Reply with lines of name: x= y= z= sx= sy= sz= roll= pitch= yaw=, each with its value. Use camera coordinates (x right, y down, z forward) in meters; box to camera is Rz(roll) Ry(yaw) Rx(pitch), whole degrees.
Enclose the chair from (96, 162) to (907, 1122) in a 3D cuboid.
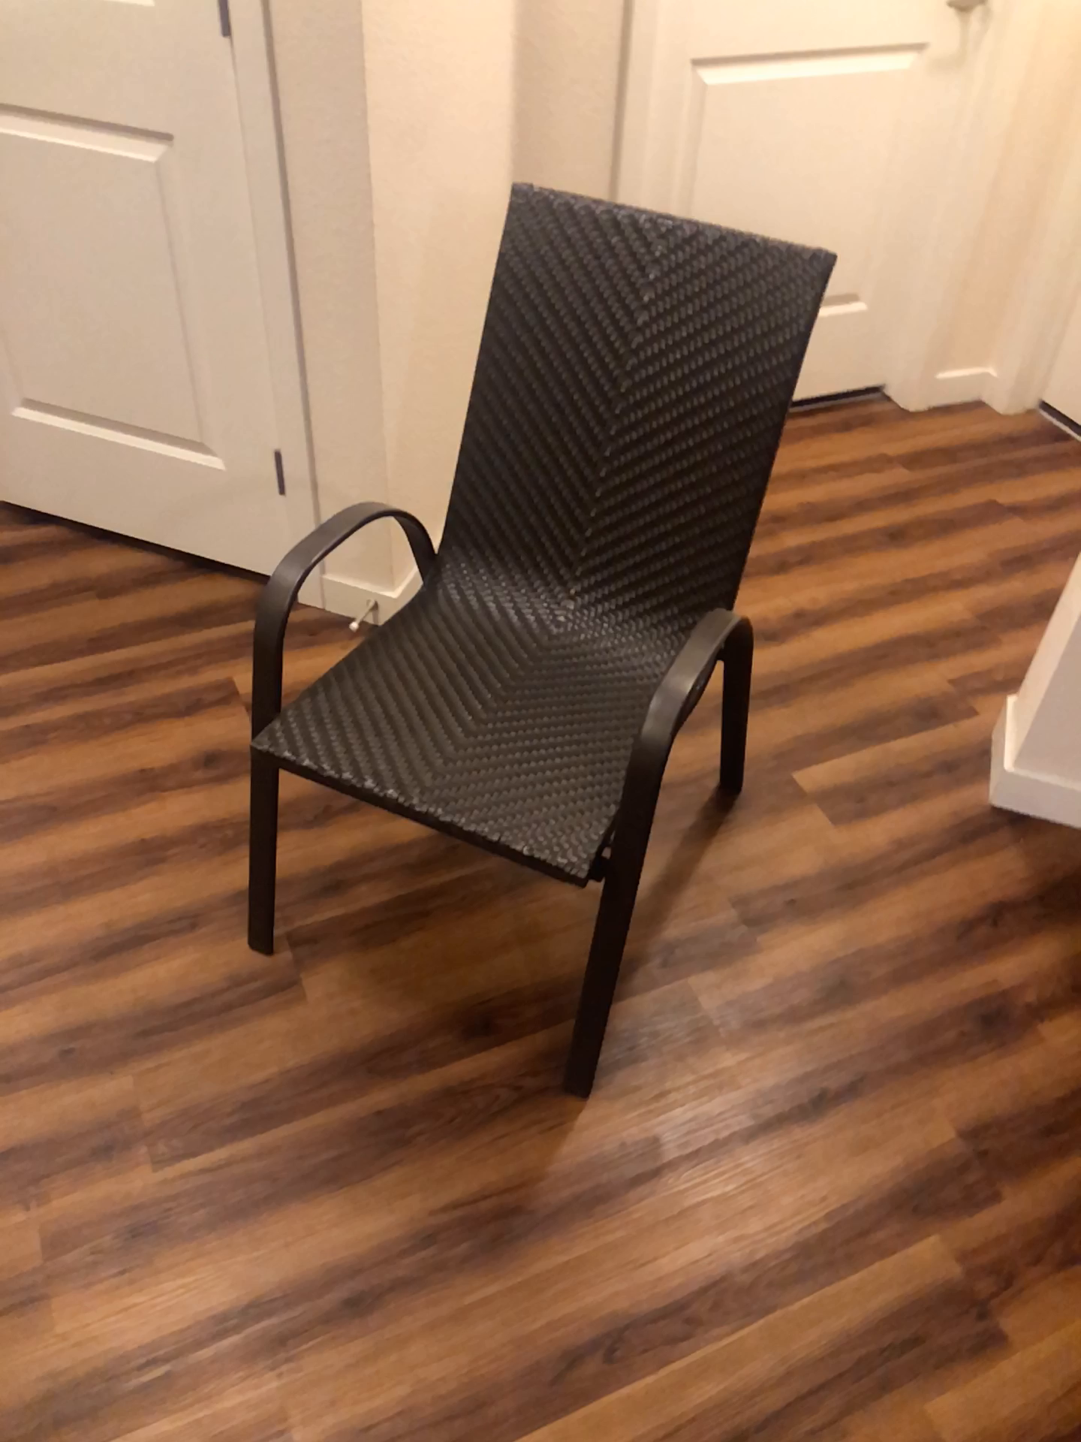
chair: x=-0.004 y=-0.130 z=1.551 sx=0.597 sy=0.852 sz=0.751 roll=20 pitch=44 yaw=17
